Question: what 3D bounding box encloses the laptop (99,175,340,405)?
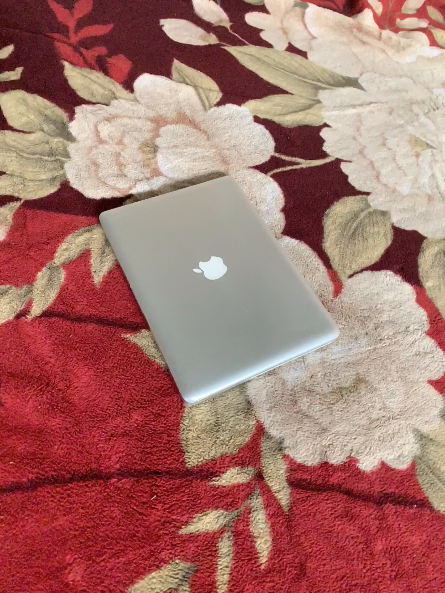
[{"bbox_3d":[-0.015,-0.034,0.616,0.209,0.001,0.310,-22,62,-17],"label":"laptop"}]
